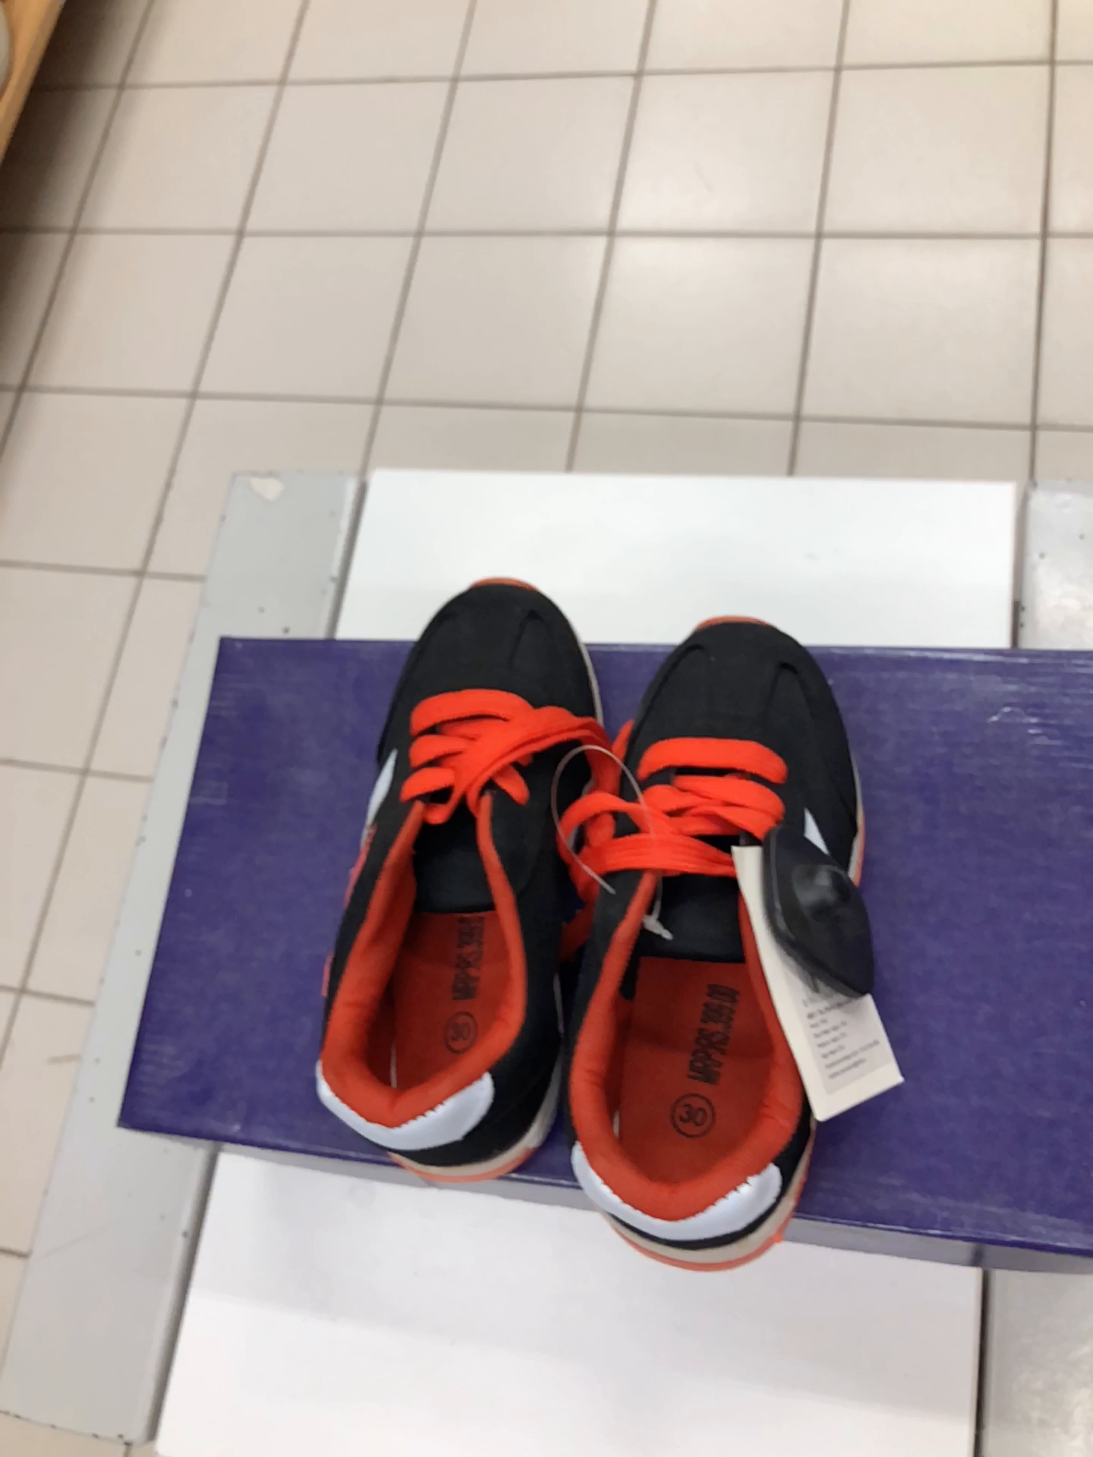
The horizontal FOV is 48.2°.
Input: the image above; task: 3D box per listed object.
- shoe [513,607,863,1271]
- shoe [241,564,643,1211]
[{"bbox_3d":[0.050,0.063,0.371,0.080,0.100,0.170,3,71,13],"label":"shoe"},{"bbox_3d":[-0.023,0.051,0.392,0.080,0.100,0.180,3,71,13],"label":"shoe"}]
